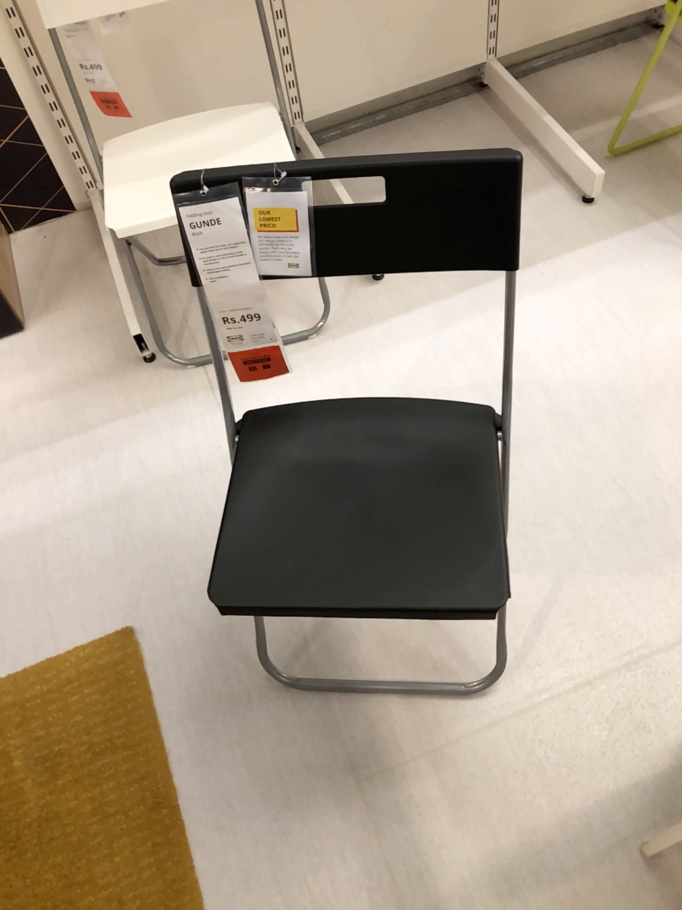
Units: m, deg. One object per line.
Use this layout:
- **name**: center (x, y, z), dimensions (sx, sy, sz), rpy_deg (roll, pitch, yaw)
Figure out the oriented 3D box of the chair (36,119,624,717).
- **chair**: center (0.035, 0.031, 1.083), dimensions (0.500, 0.786, 0.462), rpy_deg (-1, 56, 7)
